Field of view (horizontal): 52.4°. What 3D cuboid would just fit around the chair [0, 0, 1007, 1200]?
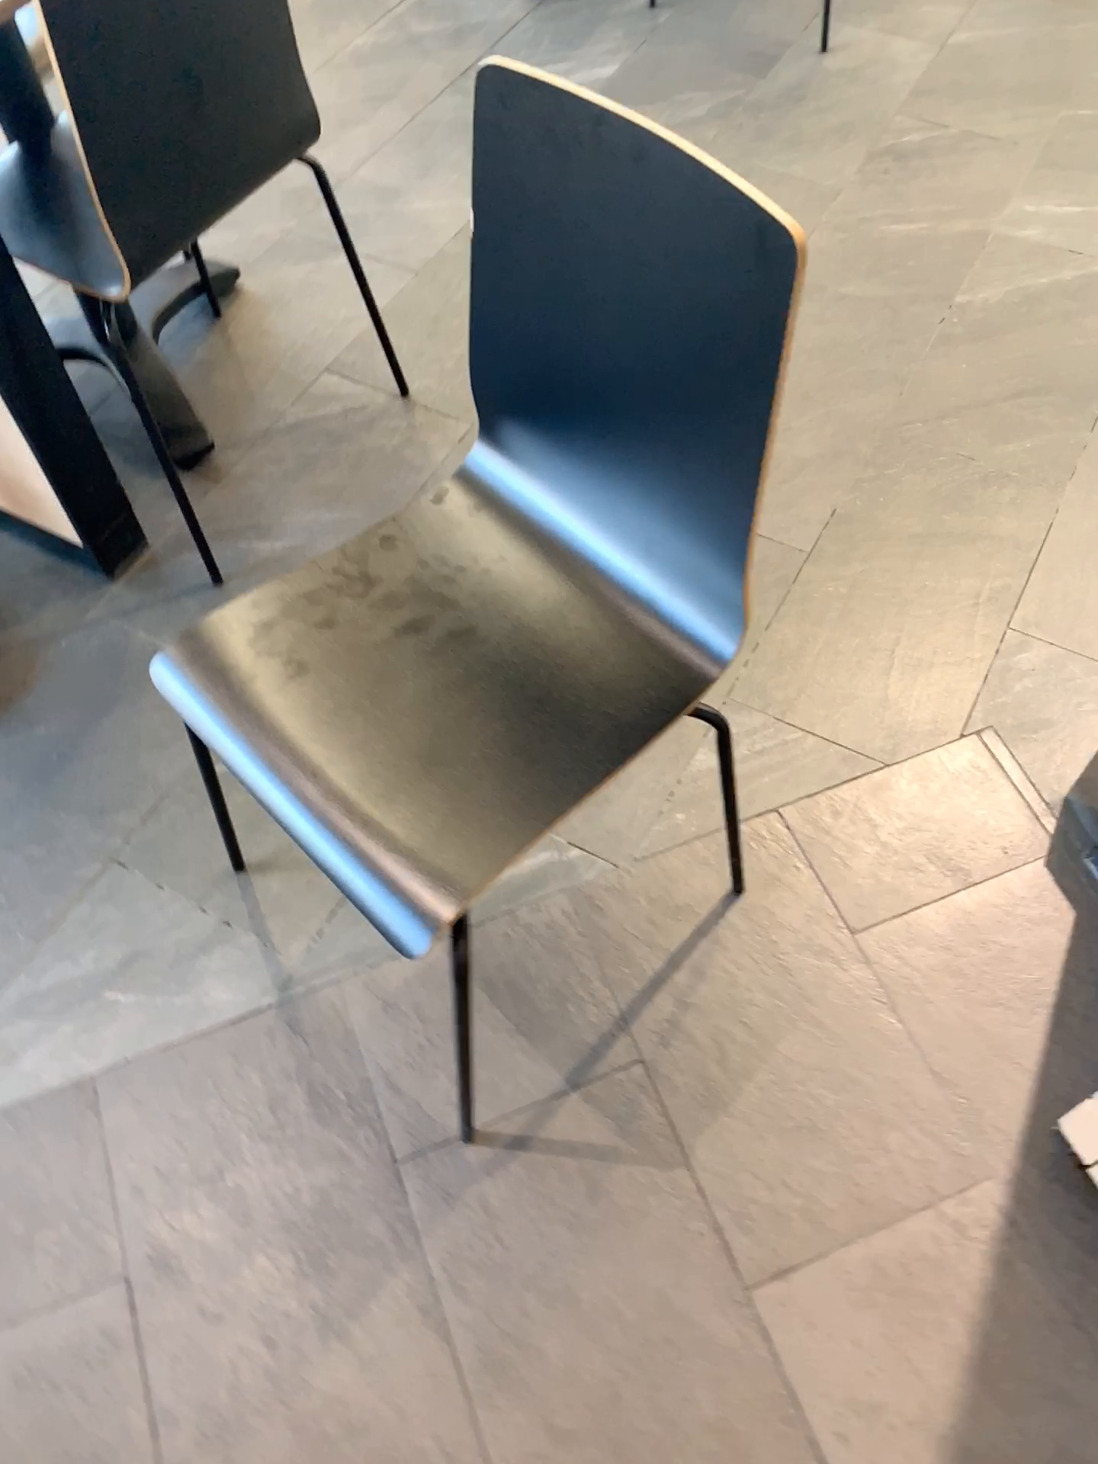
[{"bbox_3d":[-0.087,-0.041,1.026,0.520,0.838,0.521,-37,64,-20],"label":"chair"}]
